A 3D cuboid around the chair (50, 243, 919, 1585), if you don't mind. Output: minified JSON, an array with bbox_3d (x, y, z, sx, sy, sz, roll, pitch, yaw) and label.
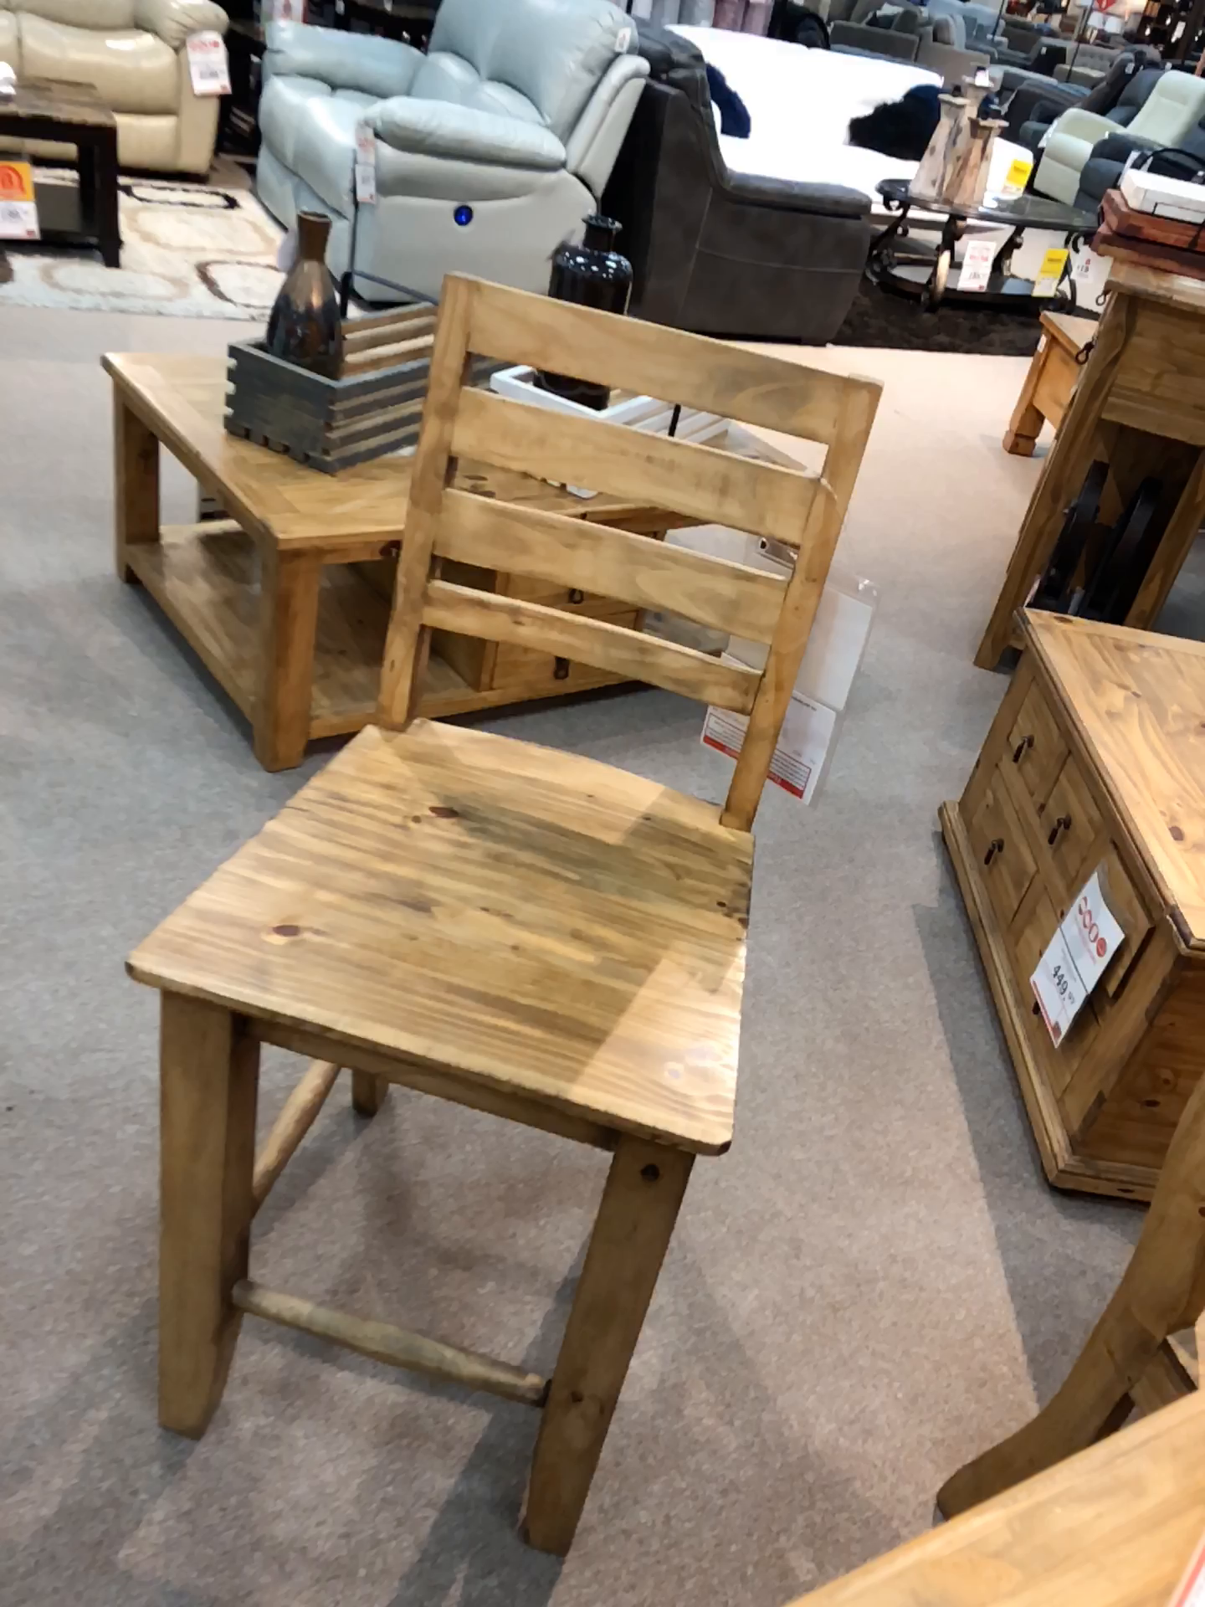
[{"bbox_3d":[-0.103,0.120,1.184,0.470,1.013,0.523,15,34,6],"label":"chair"}]
